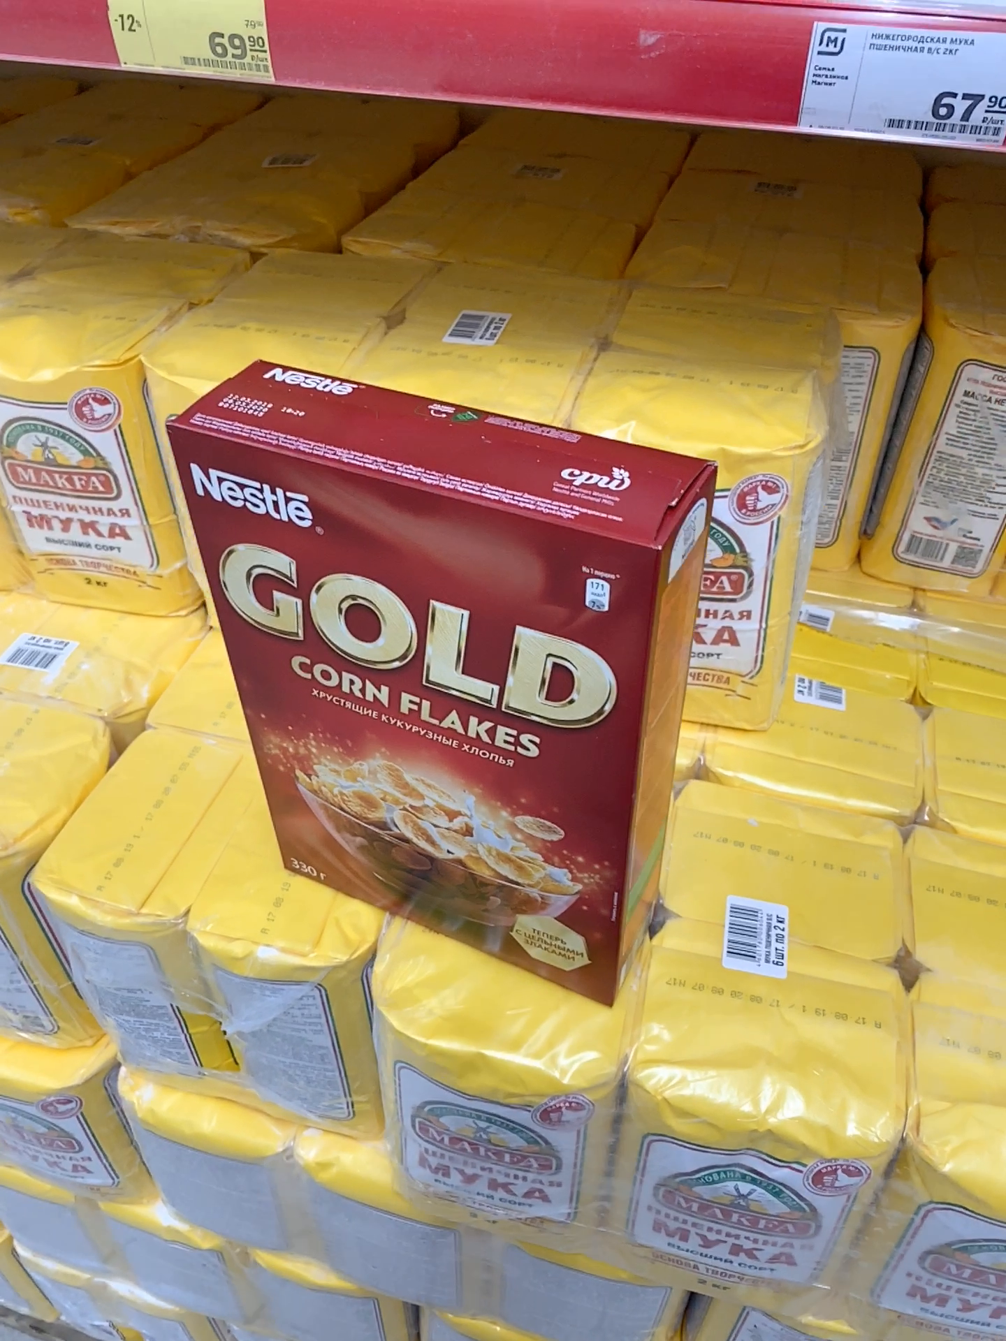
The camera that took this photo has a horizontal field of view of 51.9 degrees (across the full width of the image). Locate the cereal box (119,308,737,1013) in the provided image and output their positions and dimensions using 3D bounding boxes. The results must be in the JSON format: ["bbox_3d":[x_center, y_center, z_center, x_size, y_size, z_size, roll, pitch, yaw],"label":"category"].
[{"bbox_3d":[-0.029,0.010,0.463,0.210,0.287,0.071,18,46,18],"label":"cereal box"}]
